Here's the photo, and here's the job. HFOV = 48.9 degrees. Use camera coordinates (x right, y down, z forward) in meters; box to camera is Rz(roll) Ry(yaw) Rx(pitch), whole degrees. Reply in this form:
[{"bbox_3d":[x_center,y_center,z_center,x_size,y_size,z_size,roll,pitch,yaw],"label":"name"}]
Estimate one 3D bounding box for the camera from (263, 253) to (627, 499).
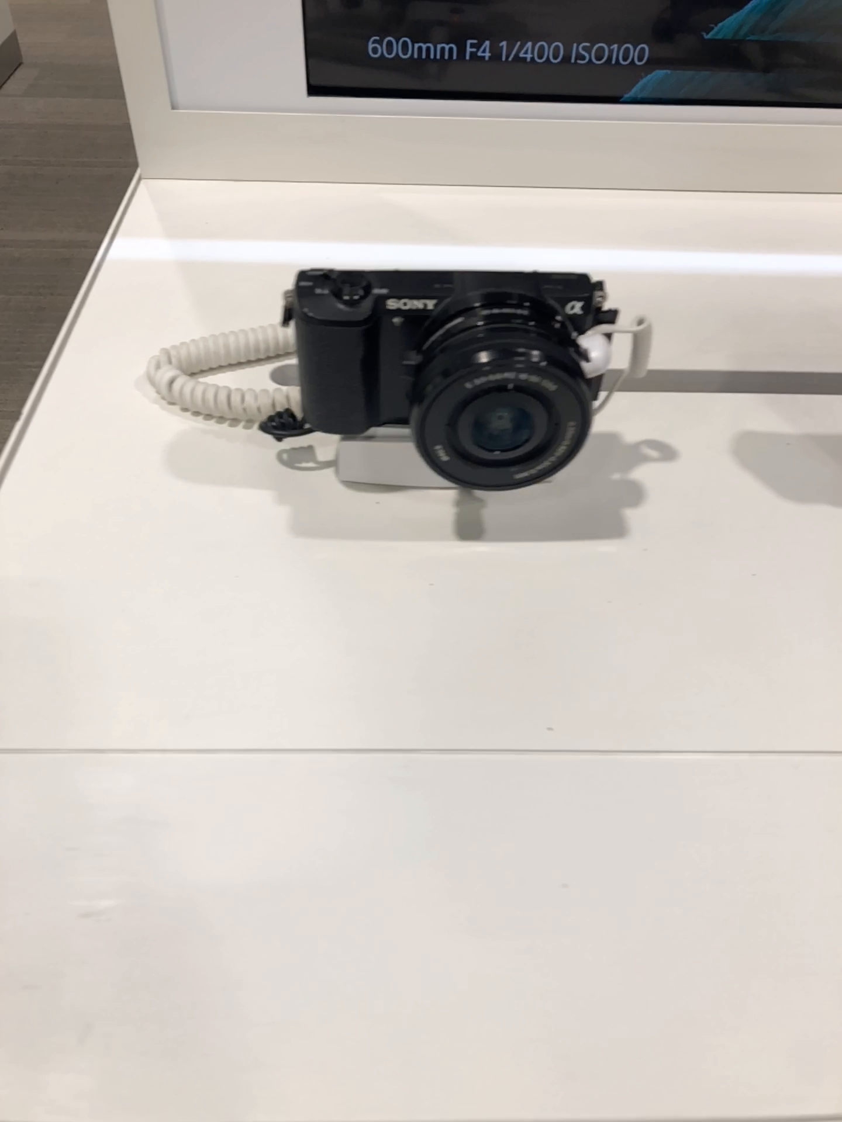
[{"bbox_3d":[0.007,-0.066,0.330,0.113,0.060,0.062,0,46,-1],"label":"camera"}]
